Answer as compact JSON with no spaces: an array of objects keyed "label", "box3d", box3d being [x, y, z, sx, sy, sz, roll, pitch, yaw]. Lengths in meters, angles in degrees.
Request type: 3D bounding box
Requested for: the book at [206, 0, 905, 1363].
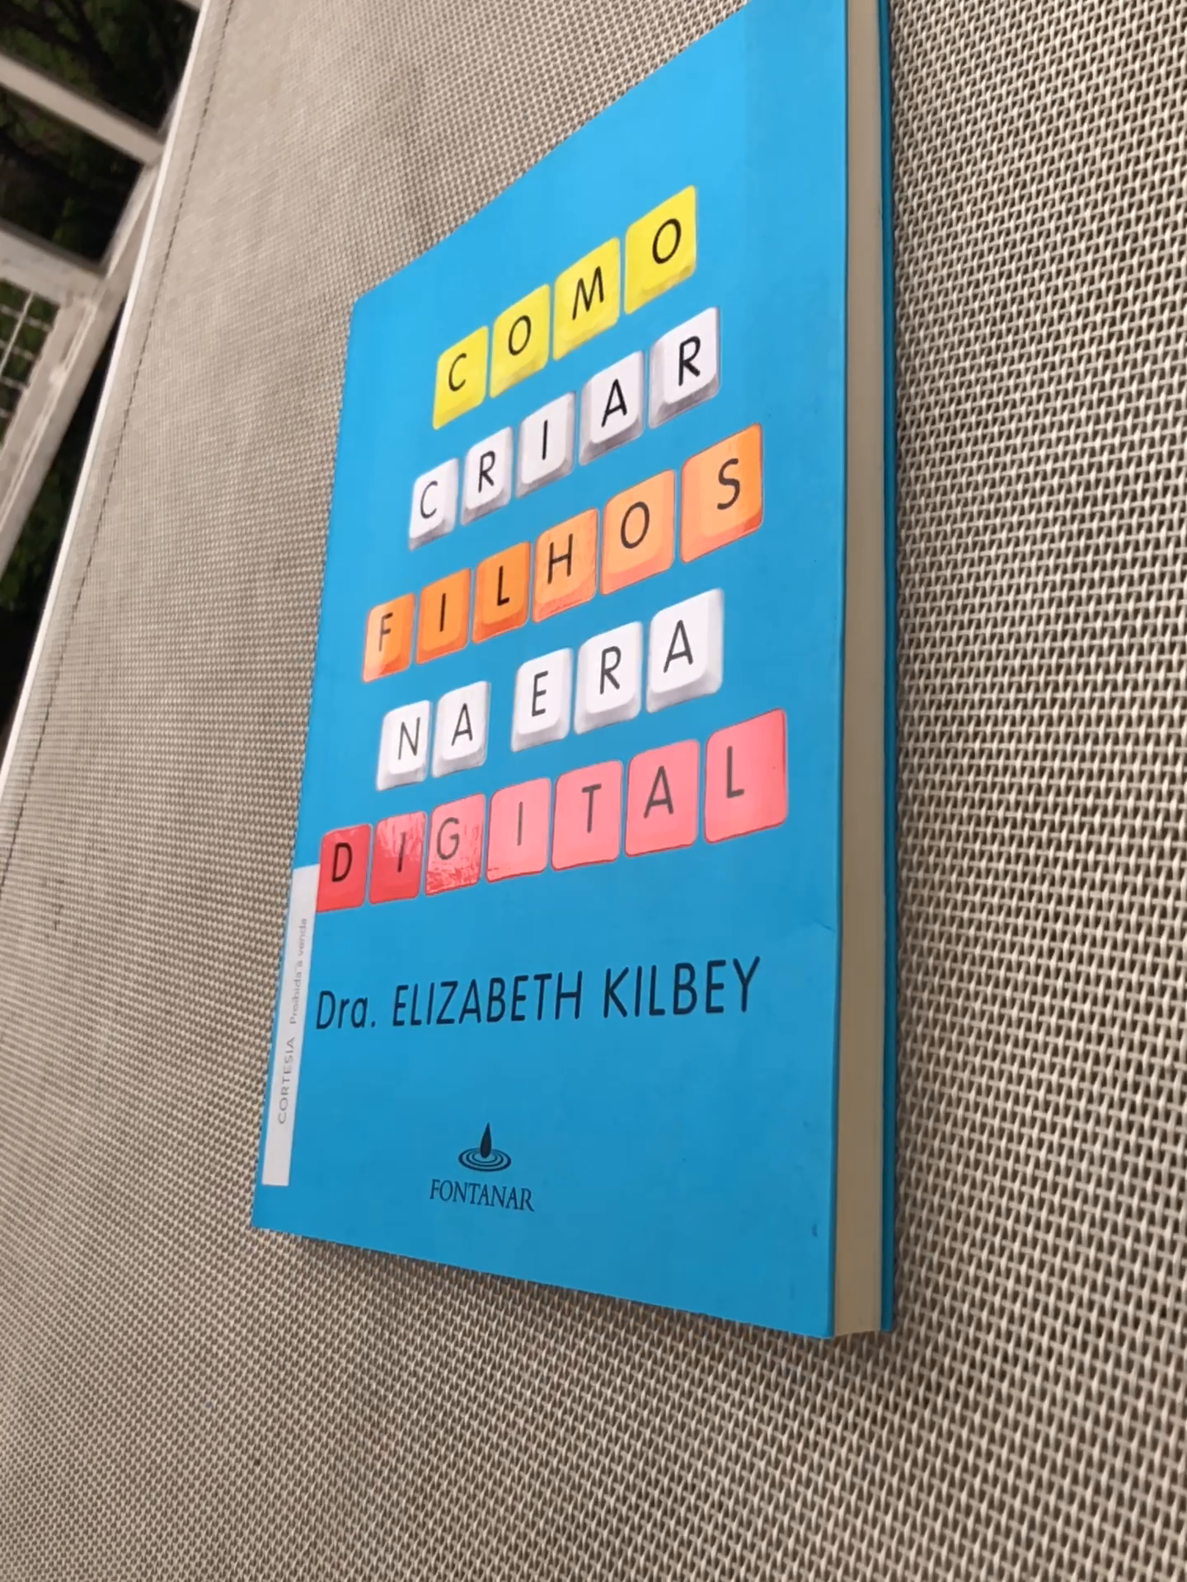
[{"label":"book","box3d":[-0.014,-0.024,0.262,0.164,0.020,0.228,-13,68,46]}]
